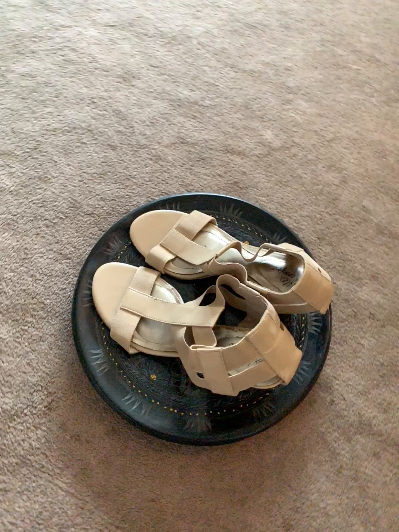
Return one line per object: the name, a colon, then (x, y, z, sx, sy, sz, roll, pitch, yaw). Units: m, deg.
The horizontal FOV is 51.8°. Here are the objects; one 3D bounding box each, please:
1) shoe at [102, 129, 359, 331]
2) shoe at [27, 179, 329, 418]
shoe: (0.026, -0.031, 0.420, 0.220, 0.100, 0.090, 24, 68, 3)
shoe: (-0.019, 0.035, 0.373, 0.220, 0.100, 0.100, 28, 68, 5)
